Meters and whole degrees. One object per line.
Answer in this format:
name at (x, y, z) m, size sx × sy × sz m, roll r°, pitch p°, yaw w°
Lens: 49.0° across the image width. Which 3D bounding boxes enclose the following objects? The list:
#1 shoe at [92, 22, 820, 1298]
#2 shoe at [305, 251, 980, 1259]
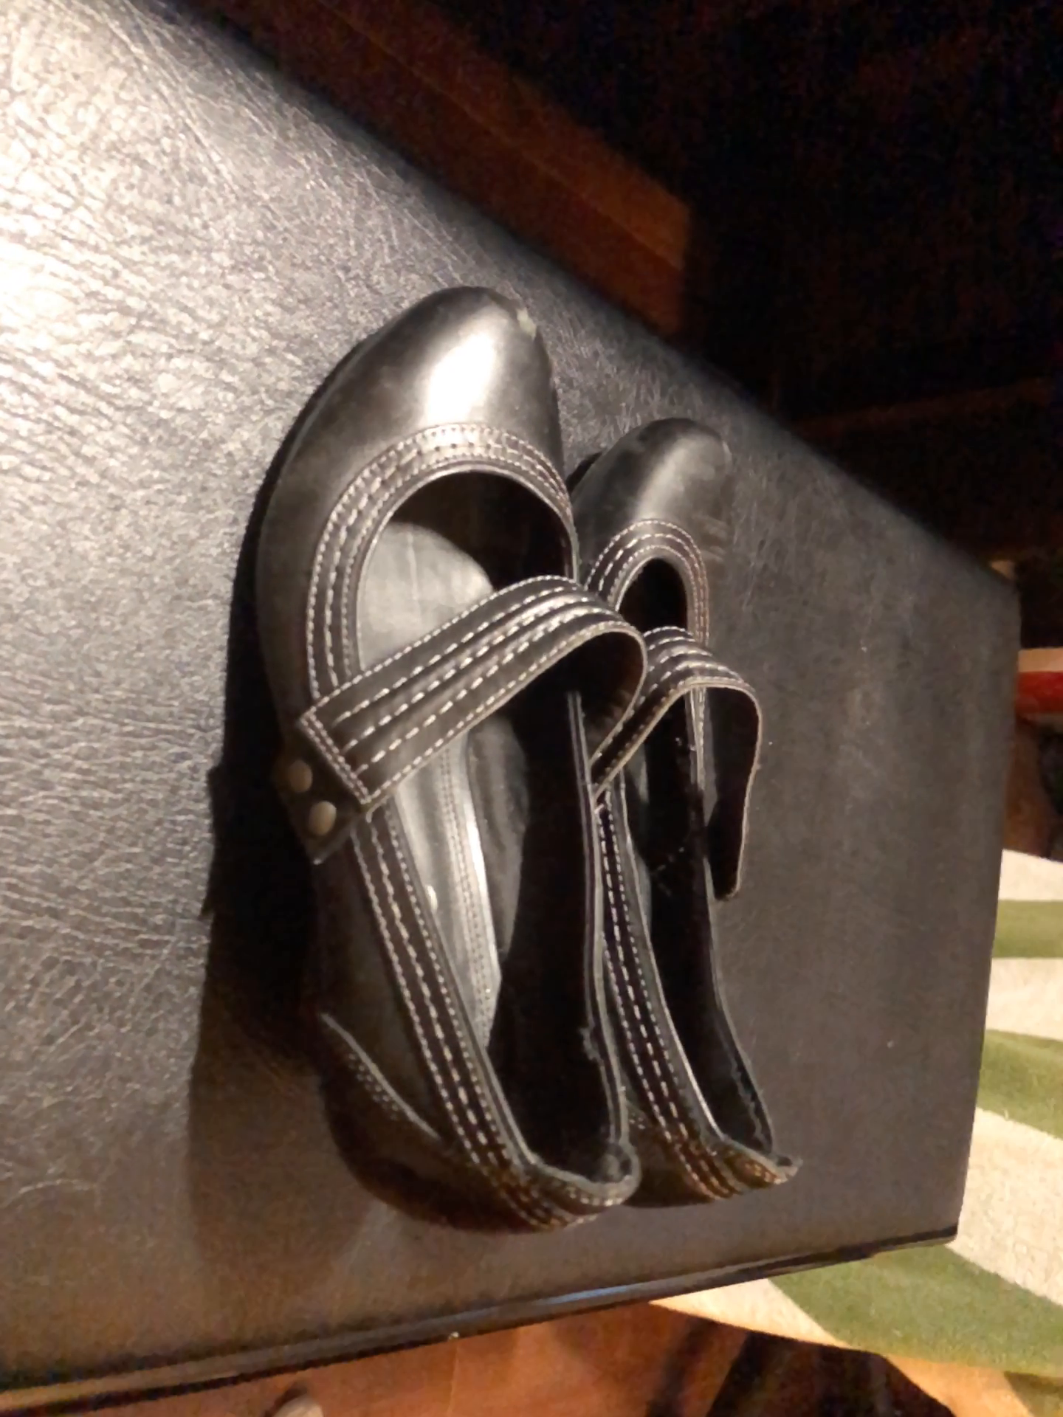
shoe at (-0.014, -0.008, 0.288) m, size 0.100 × 0.110 × 0.240 m, roll 16°, pitch 78°, yaw -44°
shoe at (0.040, 0.014, 0.339) m, size 0.100 × 0.110 × 0.240 m, roll 28°, pitch 70°, yaw -41°
